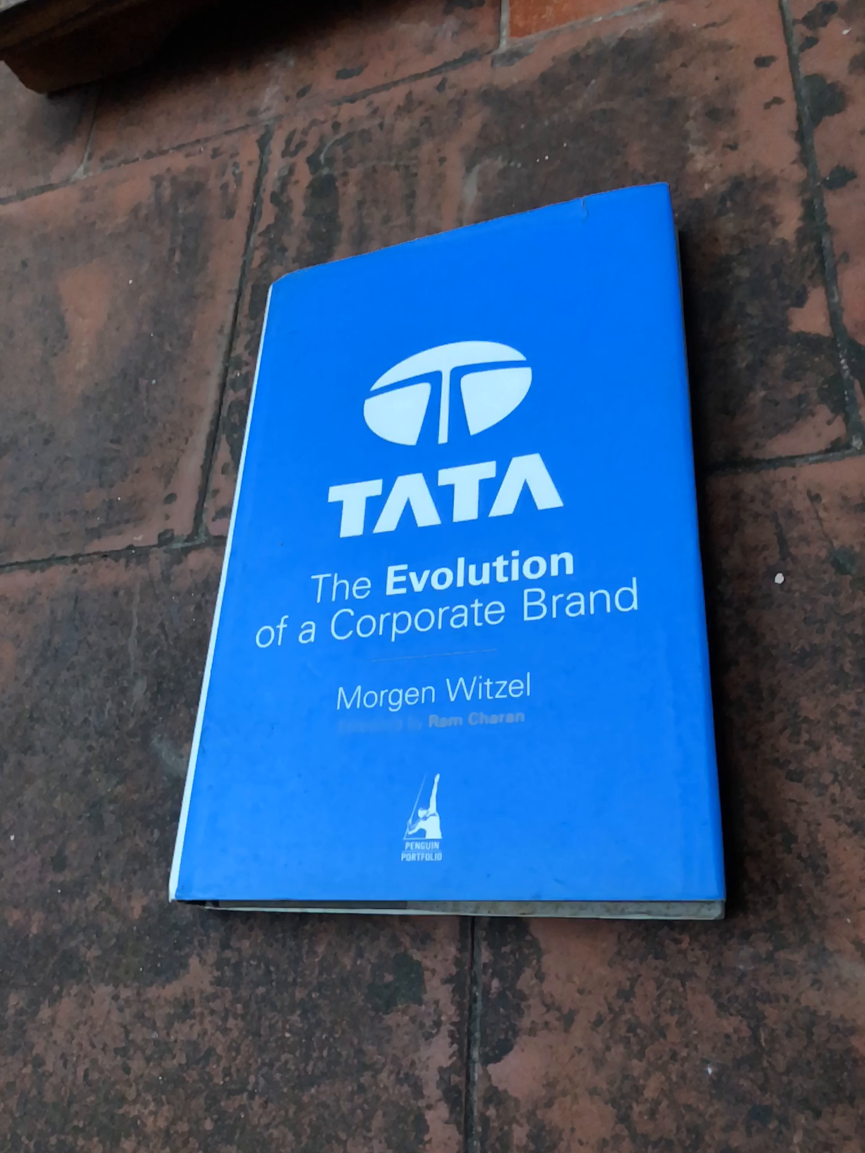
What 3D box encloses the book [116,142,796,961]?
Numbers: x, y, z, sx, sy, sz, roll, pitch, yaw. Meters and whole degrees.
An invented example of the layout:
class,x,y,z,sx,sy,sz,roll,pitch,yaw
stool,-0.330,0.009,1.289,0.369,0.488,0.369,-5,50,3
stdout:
class,x,y,z,sx,sy,sz,roll,pitch,yaw
book,0.009,-0.014,0.299,0.170,0.040,0.240,-6,62,20
